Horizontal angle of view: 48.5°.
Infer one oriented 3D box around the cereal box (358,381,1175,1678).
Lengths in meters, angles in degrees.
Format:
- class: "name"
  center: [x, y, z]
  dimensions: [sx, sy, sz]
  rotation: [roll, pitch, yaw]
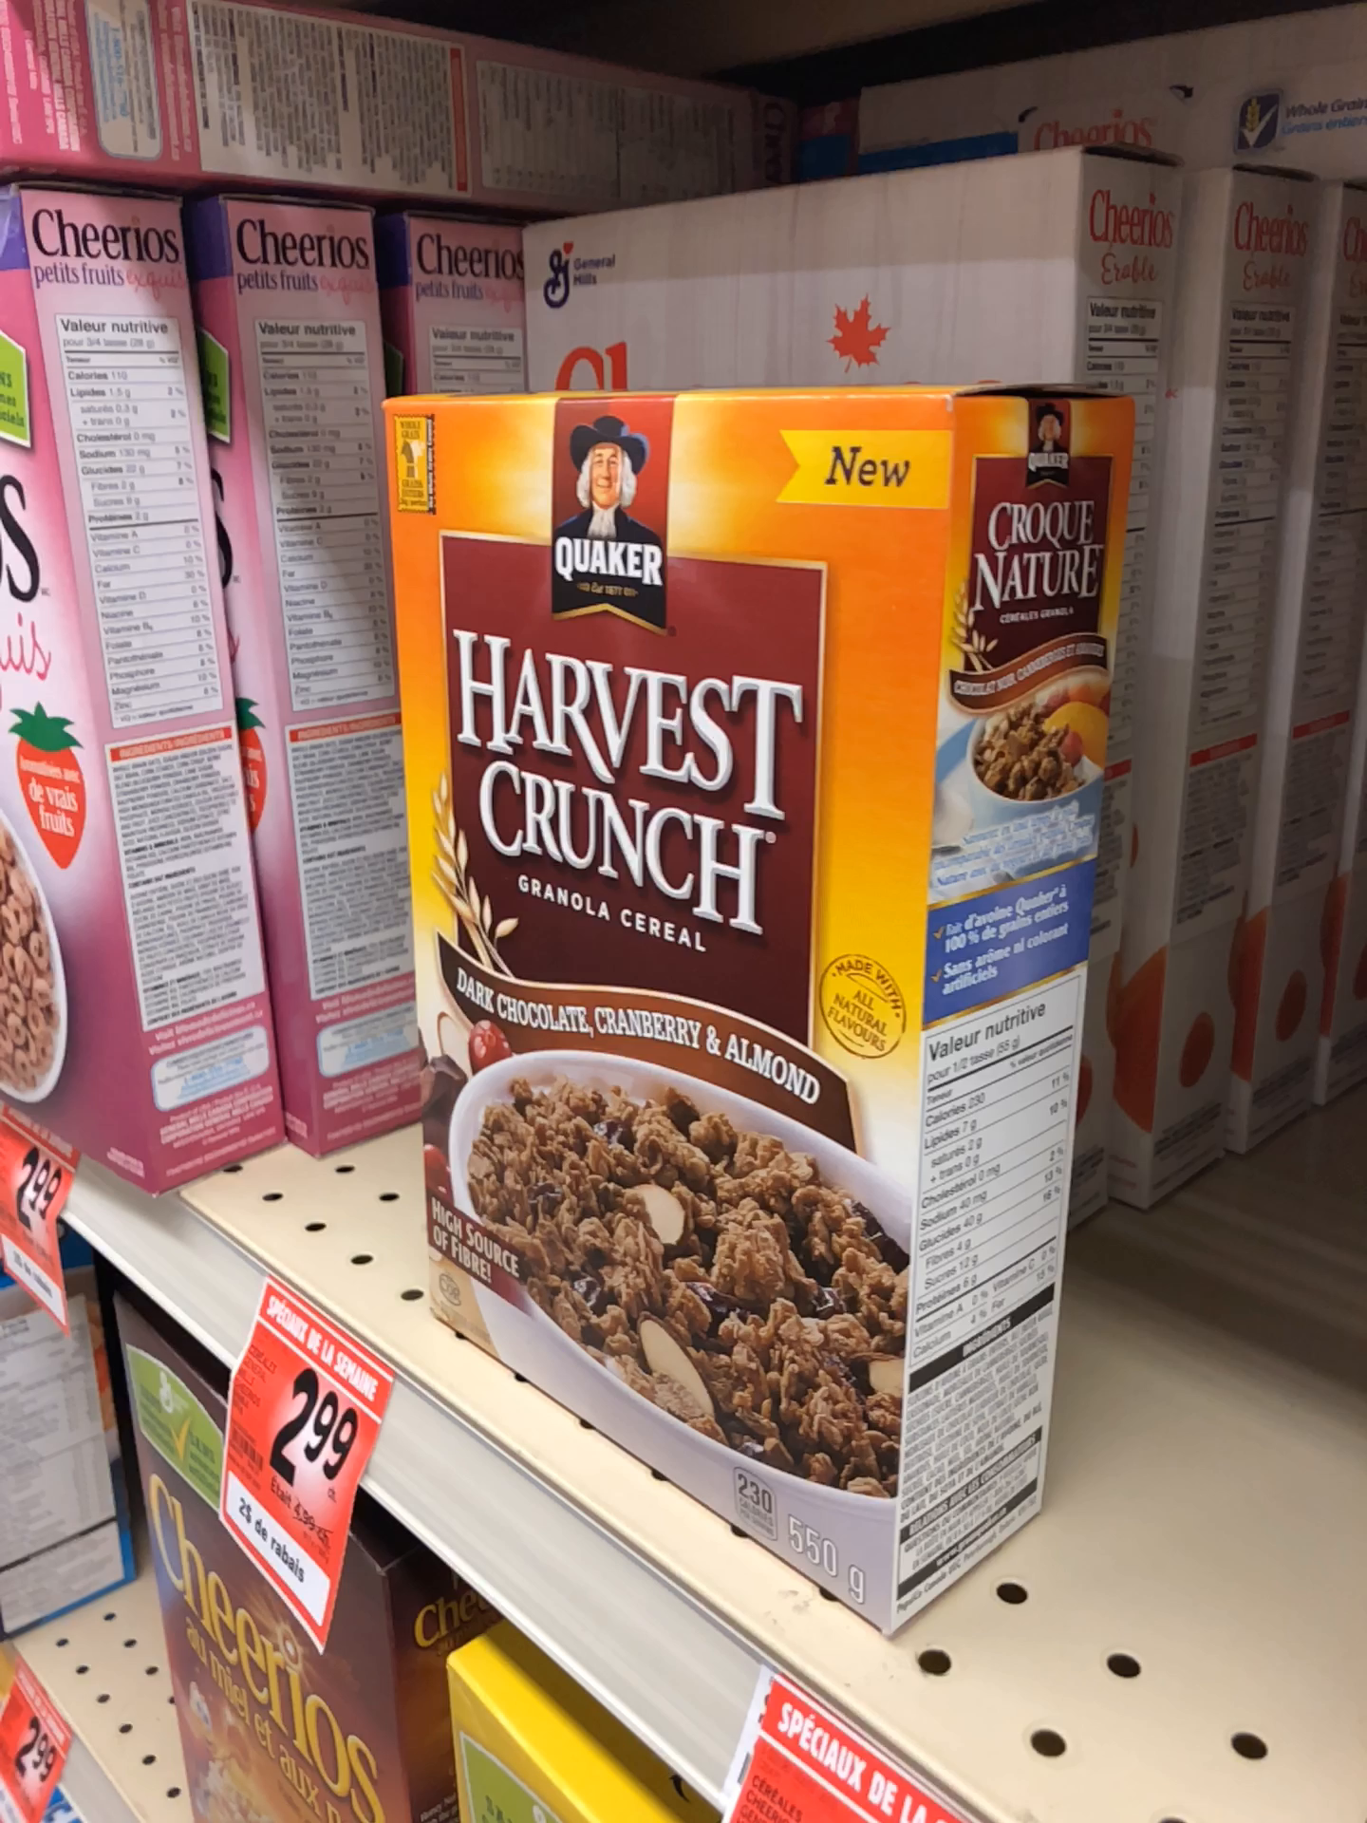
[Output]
- class: "cereal box"
  center: [0.007, 0.010, 0.340]
  dimensions: [0.060, 0.239, 0.171]
  rotation: [-16, 23, -41]
